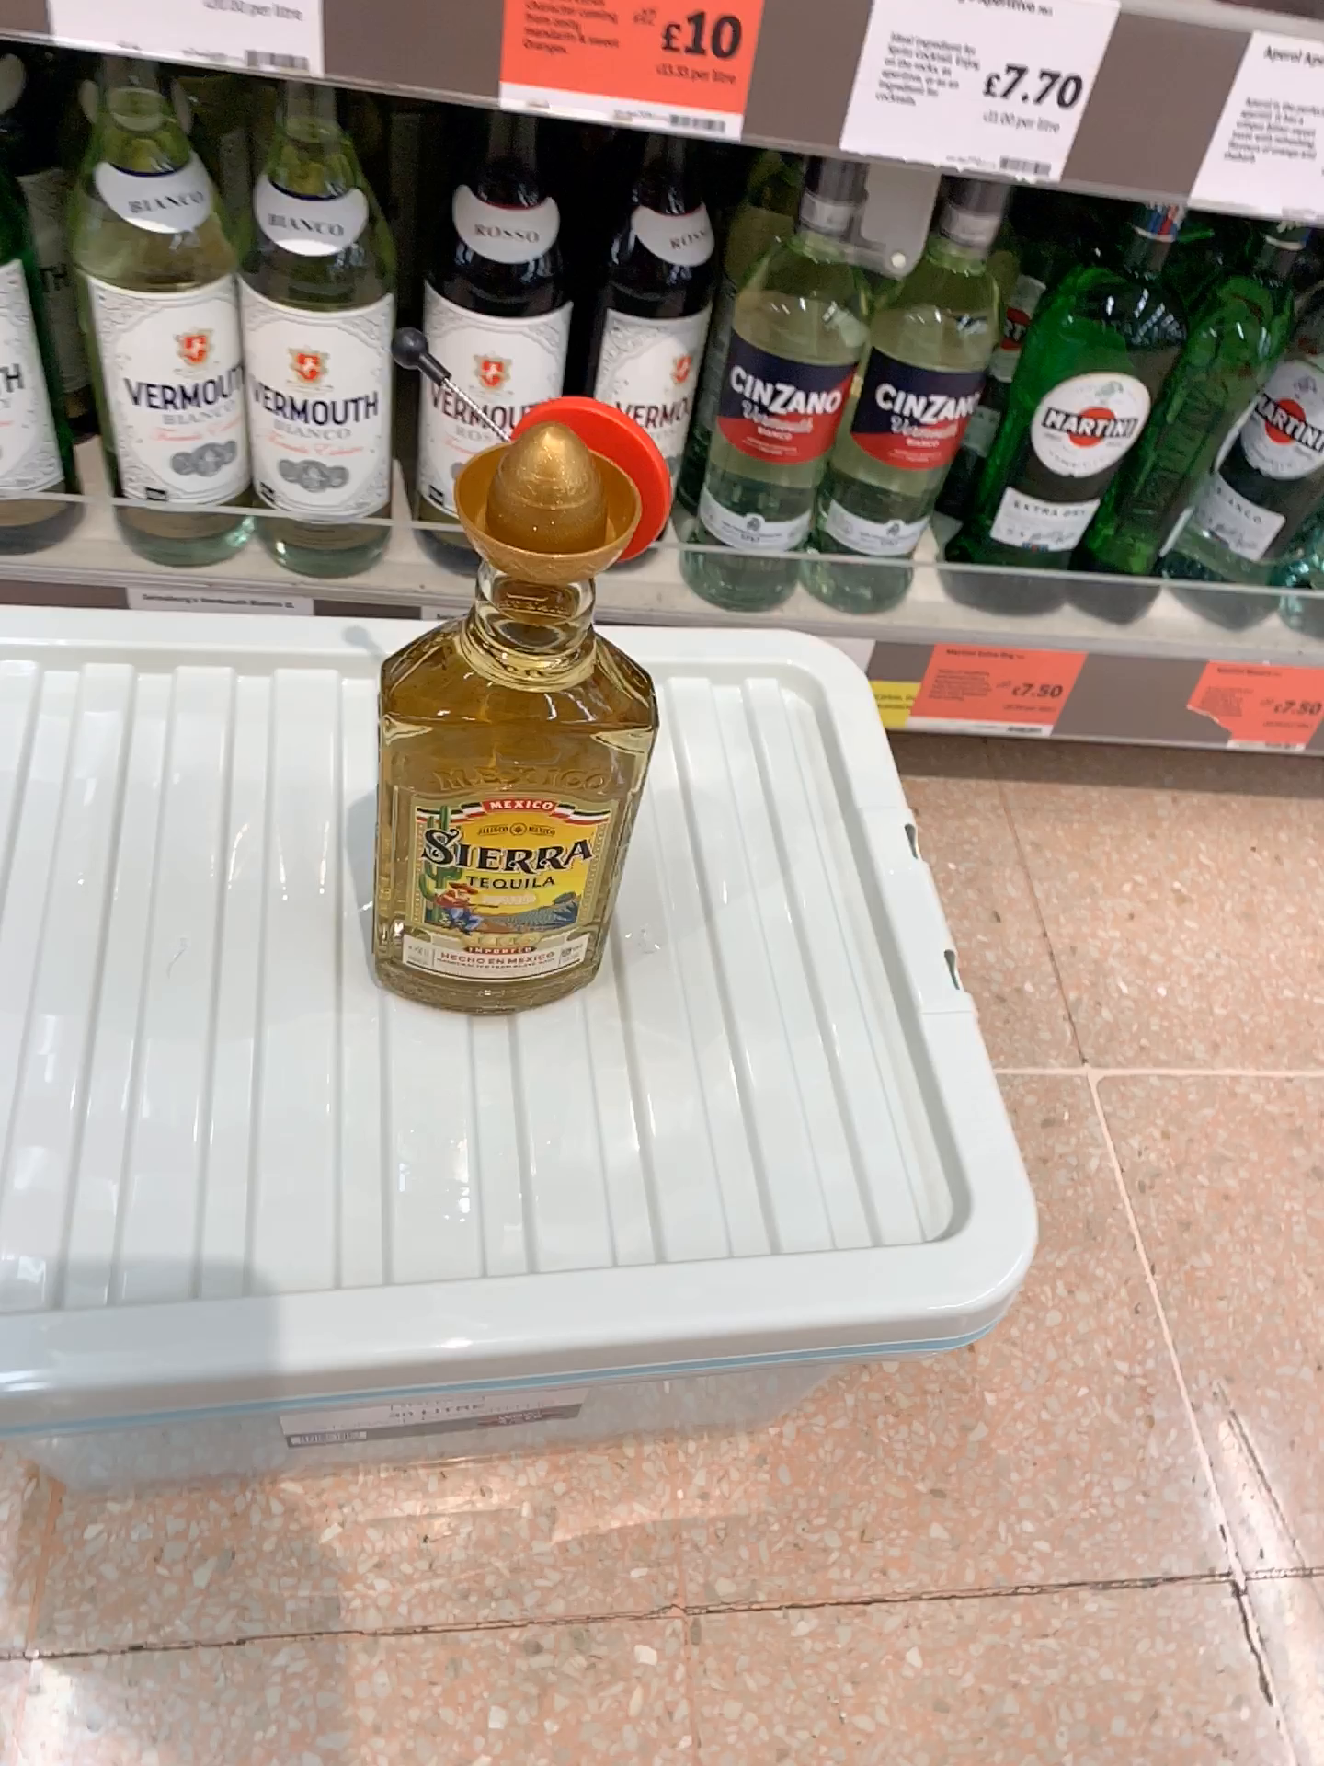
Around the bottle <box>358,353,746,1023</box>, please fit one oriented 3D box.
[{"bbox_3d":[-0.052,-0.045,0.466,0.100,0.258,0.058,0,53,-12],"label":"bottle"}]
